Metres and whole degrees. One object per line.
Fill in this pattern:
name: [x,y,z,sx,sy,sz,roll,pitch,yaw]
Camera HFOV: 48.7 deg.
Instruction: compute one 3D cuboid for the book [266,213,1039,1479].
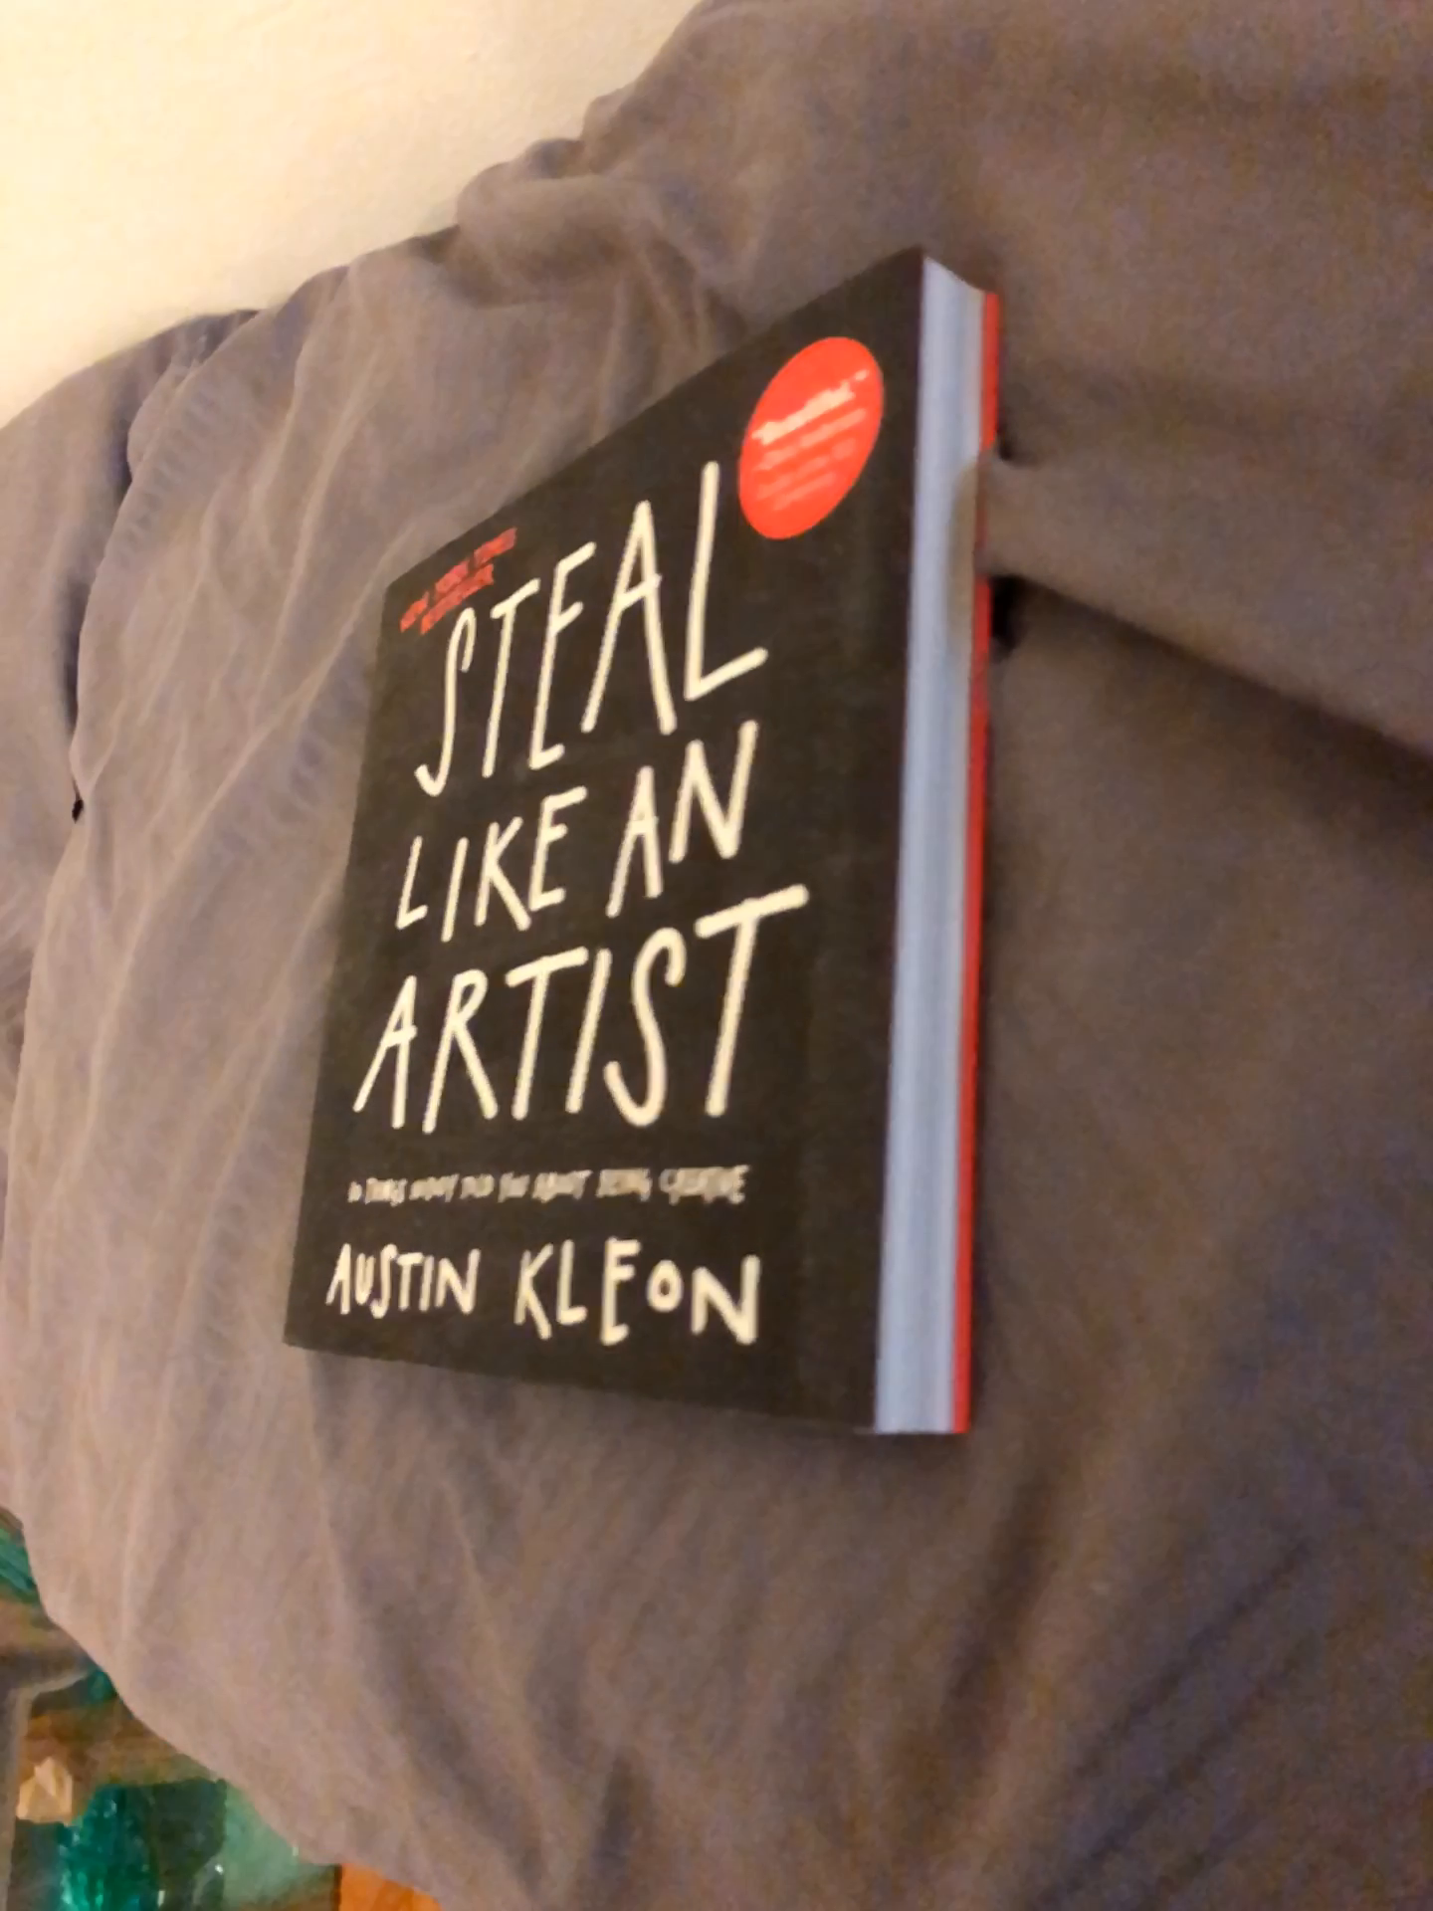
book: [-0.020,-0.009,0.259,0.161,0.020,0.160,-11,71,49]
